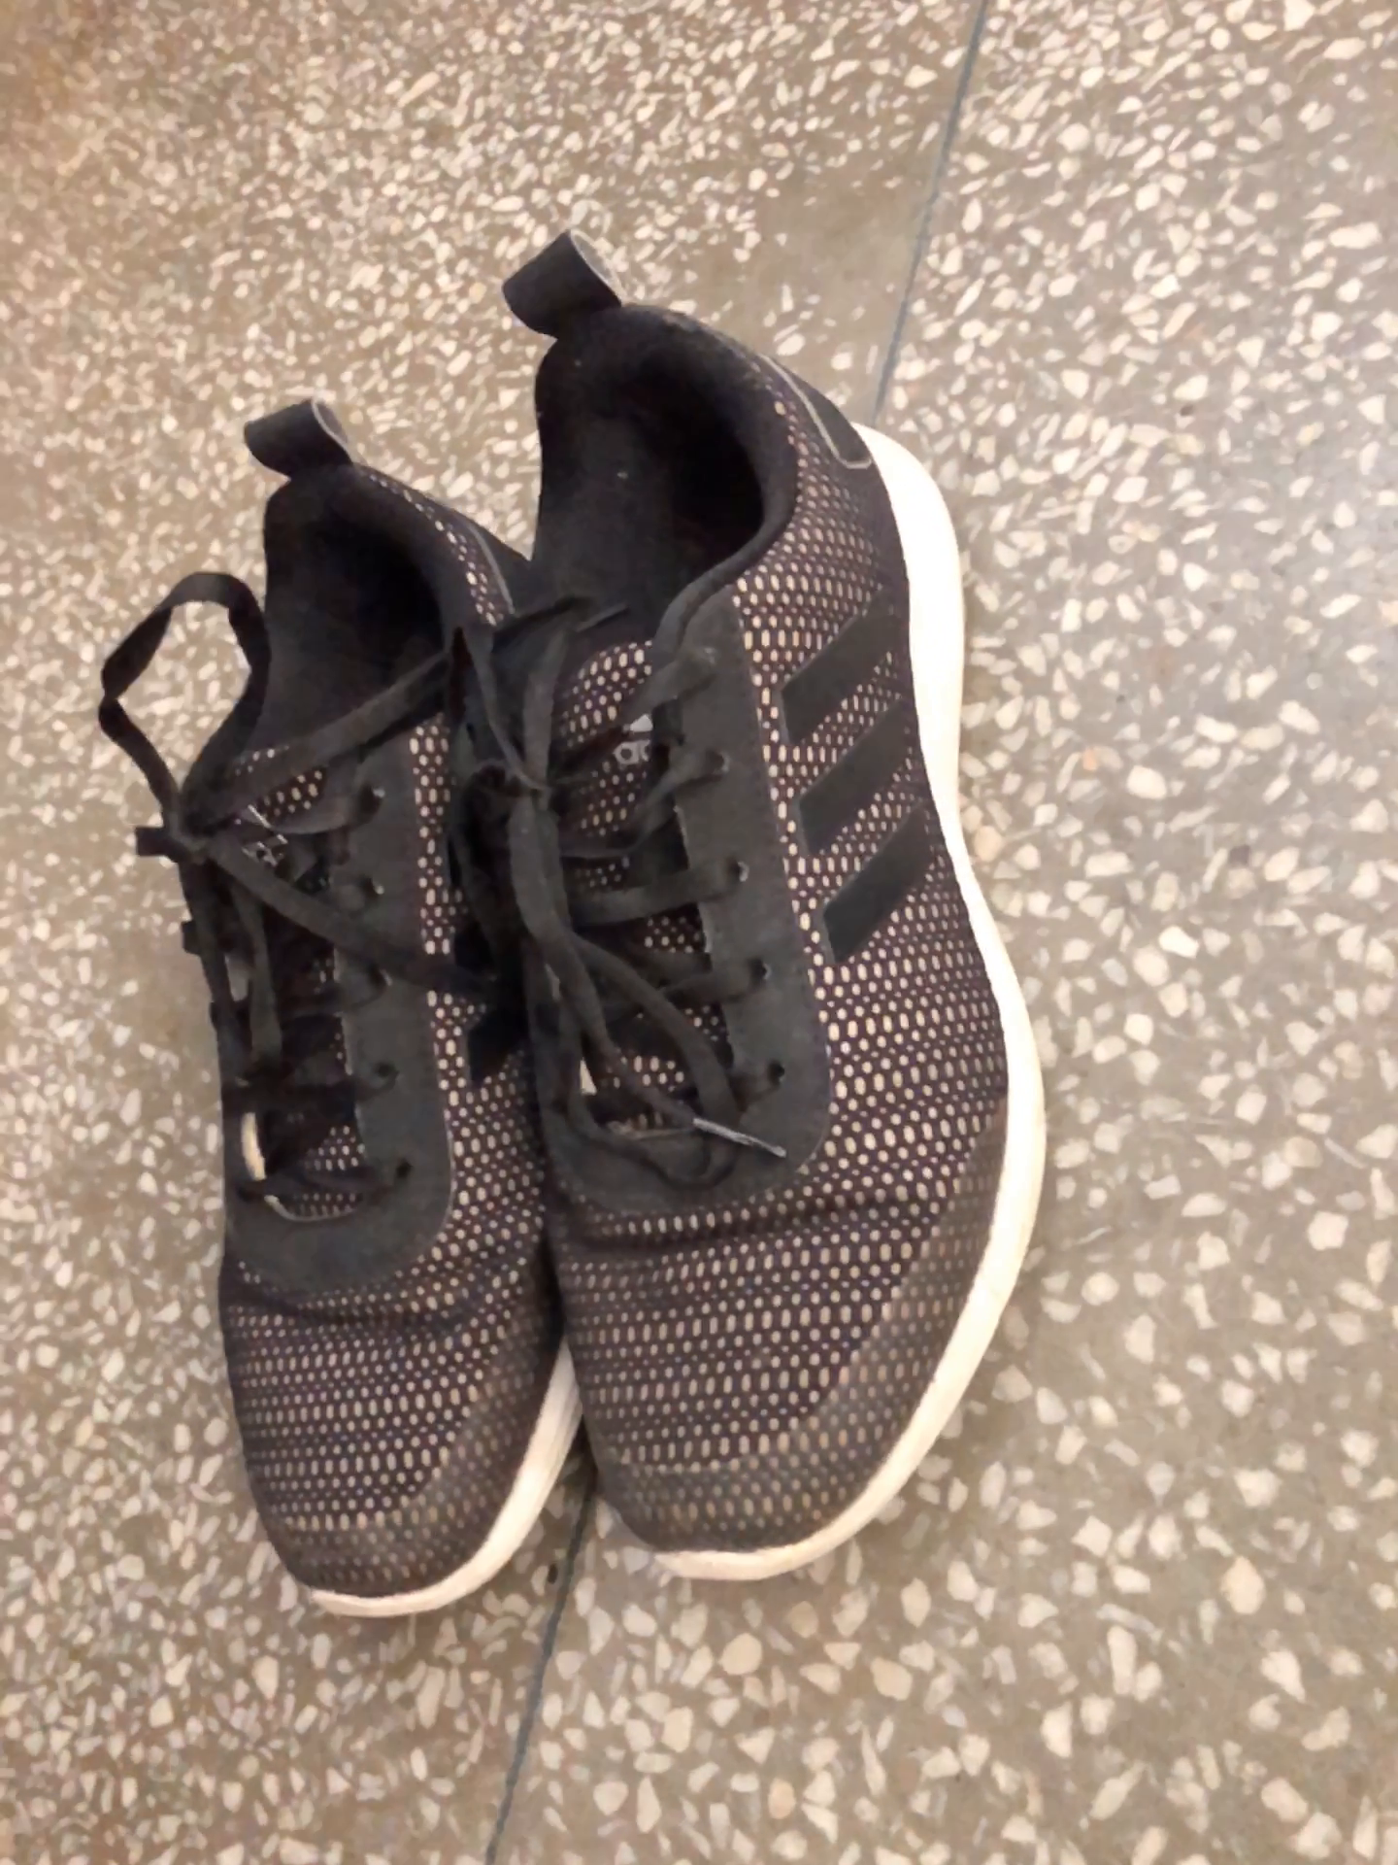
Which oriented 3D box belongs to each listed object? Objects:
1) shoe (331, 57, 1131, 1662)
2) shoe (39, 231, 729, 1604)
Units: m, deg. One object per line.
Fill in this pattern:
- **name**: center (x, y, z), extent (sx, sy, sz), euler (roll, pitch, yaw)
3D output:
- **shoe**: center (0.009, -0.015, 0.295), extent (0.100, 0.080, 0.270), euler (-11, 66, 28)
- **shoe**: center (-0.060, -0.004, 0.348), extent (0.100, 0.080, 0.280), euler (-13, 64, 27)
